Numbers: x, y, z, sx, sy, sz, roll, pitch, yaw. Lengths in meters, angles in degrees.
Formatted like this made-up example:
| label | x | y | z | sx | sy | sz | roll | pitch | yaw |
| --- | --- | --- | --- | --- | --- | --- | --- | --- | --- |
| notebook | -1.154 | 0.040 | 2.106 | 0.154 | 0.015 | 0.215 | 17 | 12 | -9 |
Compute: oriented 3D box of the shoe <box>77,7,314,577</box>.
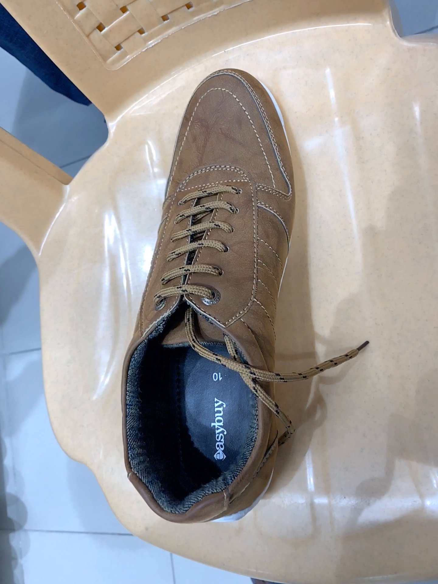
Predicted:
| label | x | y | z | sx | sy | sz | roll | pitch | yaw |
| --- | --- | --- | --- | --- | --- | --- | --- | --- | --- |
| shoe | 0.000 | -0.009 | 0.303 | 0.100 | 0.100 | 0.310 | -4 | 74 | 26 |
